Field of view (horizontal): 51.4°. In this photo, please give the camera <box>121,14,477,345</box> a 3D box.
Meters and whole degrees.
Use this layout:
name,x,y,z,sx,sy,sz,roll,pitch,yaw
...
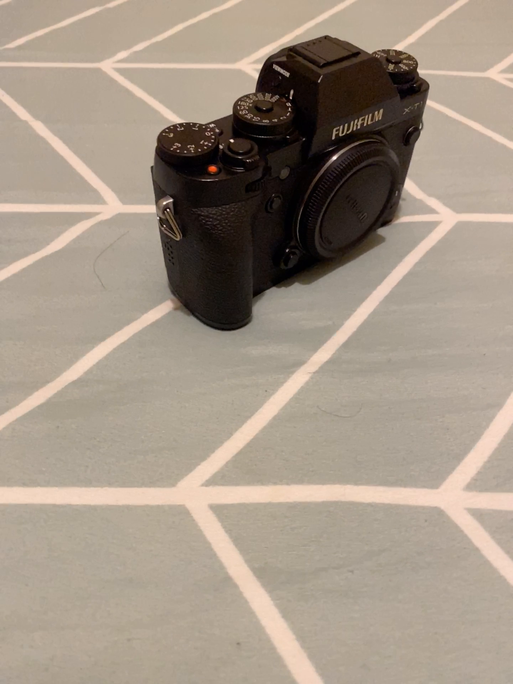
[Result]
name,x,y,z,sx,sy,sz,roll,pitch,yaw
camera,0.019,-0.072,0.232,0.130,0.087,0.052,-30,59,-23
